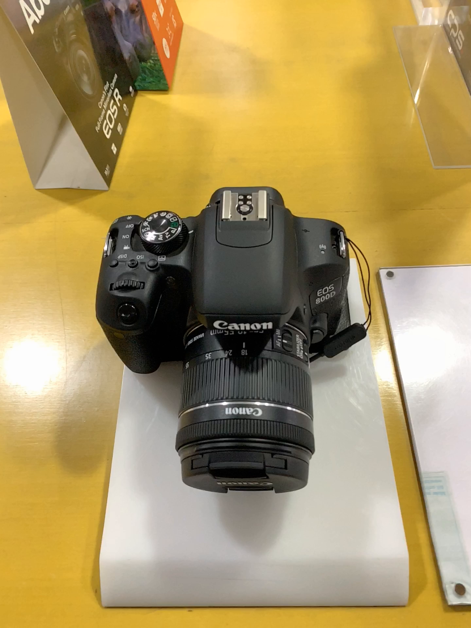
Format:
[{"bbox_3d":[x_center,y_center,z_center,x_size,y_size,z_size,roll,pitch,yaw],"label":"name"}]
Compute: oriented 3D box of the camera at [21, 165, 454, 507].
[{"bbox_3d":[0.001,0.013,0.229,0.140,0.090,0.130,-2,58,3],"label":"camera"}]
